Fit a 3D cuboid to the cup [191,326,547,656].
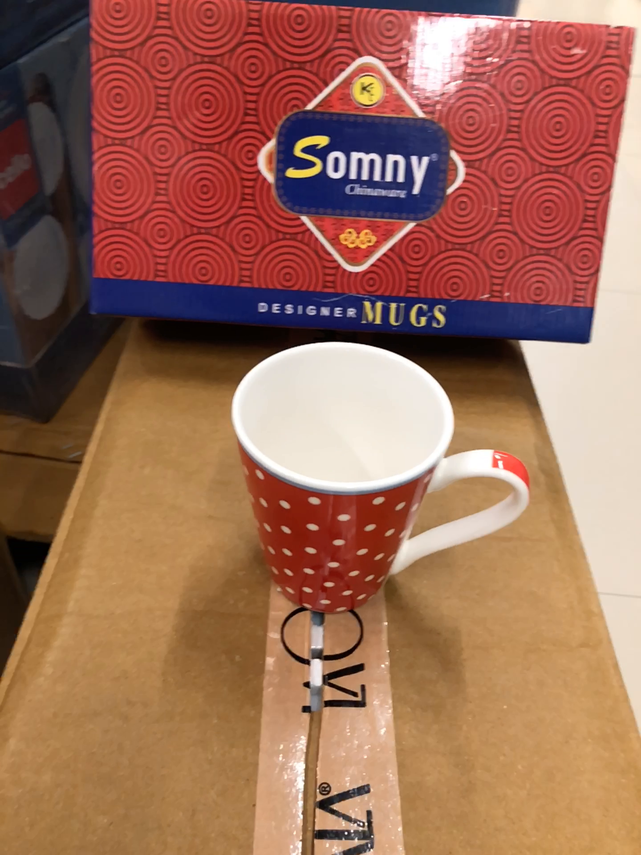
[{"bbox_3d":[0.020,0.025,0.297,0.120,0.089,0.081,8,43,5],"label":"cup"}]
